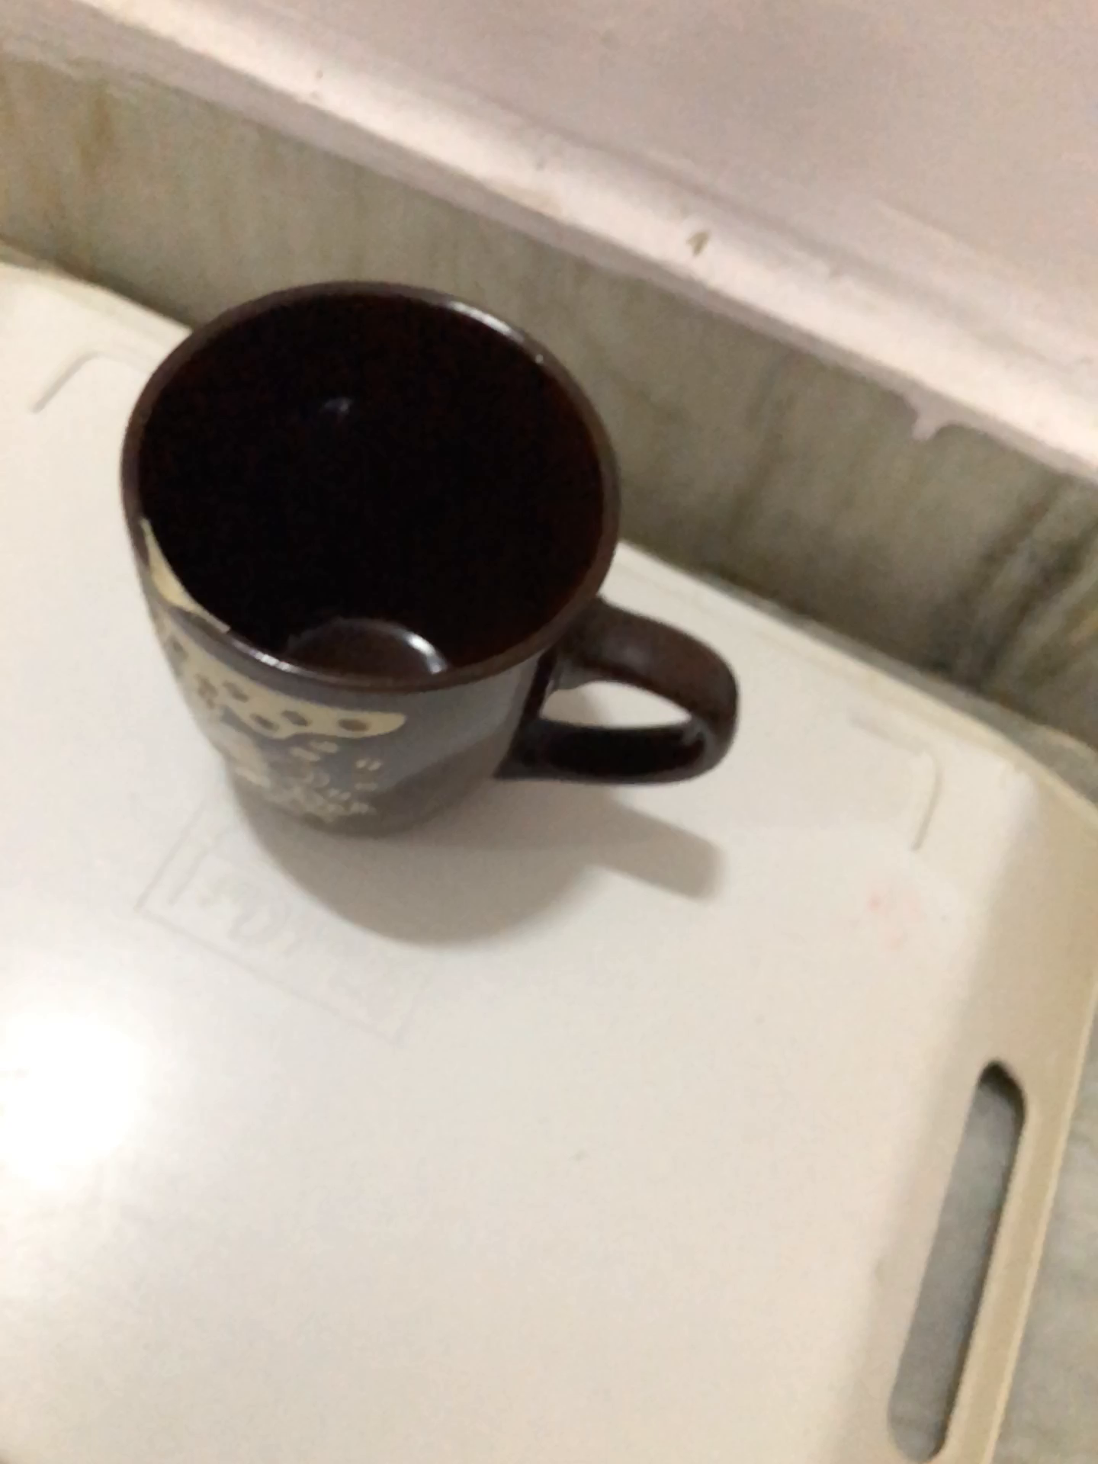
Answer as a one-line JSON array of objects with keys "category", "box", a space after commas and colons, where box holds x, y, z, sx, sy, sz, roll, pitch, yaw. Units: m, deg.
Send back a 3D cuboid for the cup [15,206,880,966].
[{"category": "cup", "box": [-0.018, -0.018, 0.237, 0.120, 0.100, 0.070, 17, 62, -3]}]
